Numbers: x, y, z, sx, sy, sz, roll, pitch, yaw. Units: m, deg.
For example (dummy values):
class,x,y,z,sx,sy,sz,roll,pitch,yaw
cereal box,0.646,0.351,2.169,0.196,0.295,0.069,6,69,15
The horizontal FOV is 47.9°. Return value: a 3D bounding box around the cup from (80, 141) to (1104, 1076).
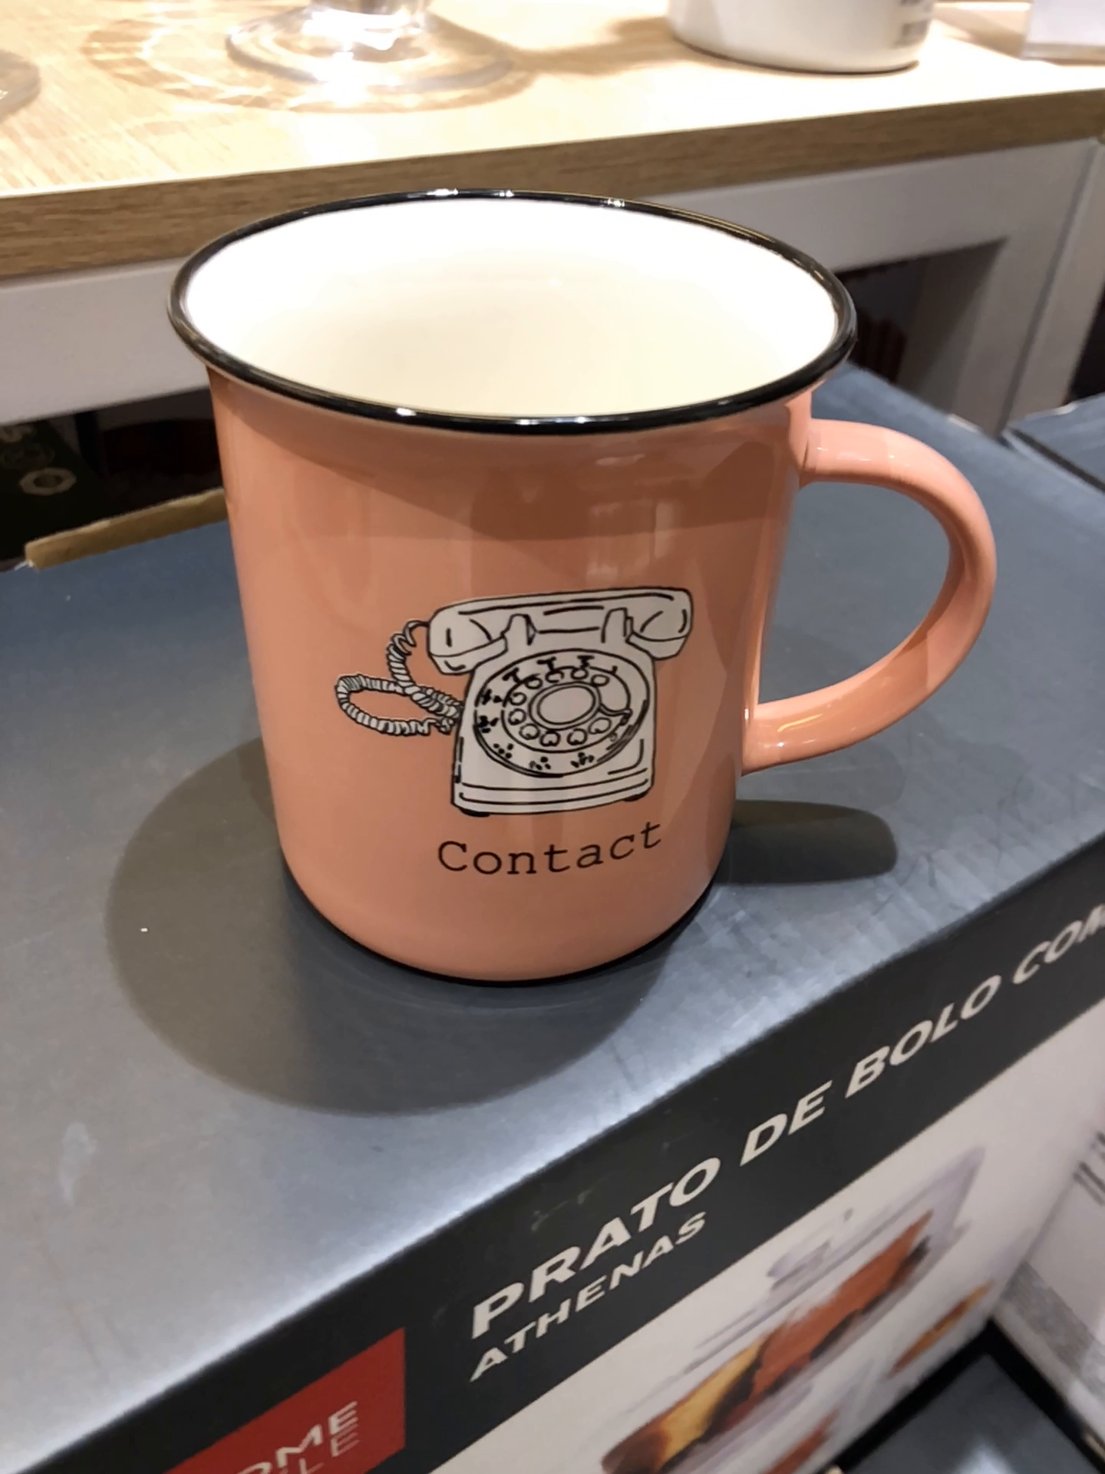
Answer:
class,x,y,z,sx,sy,sz,roll,pitch,yaw
cup,0.006,-0.020,0.169,0.110,0.089,0.081,-3,41,-10
